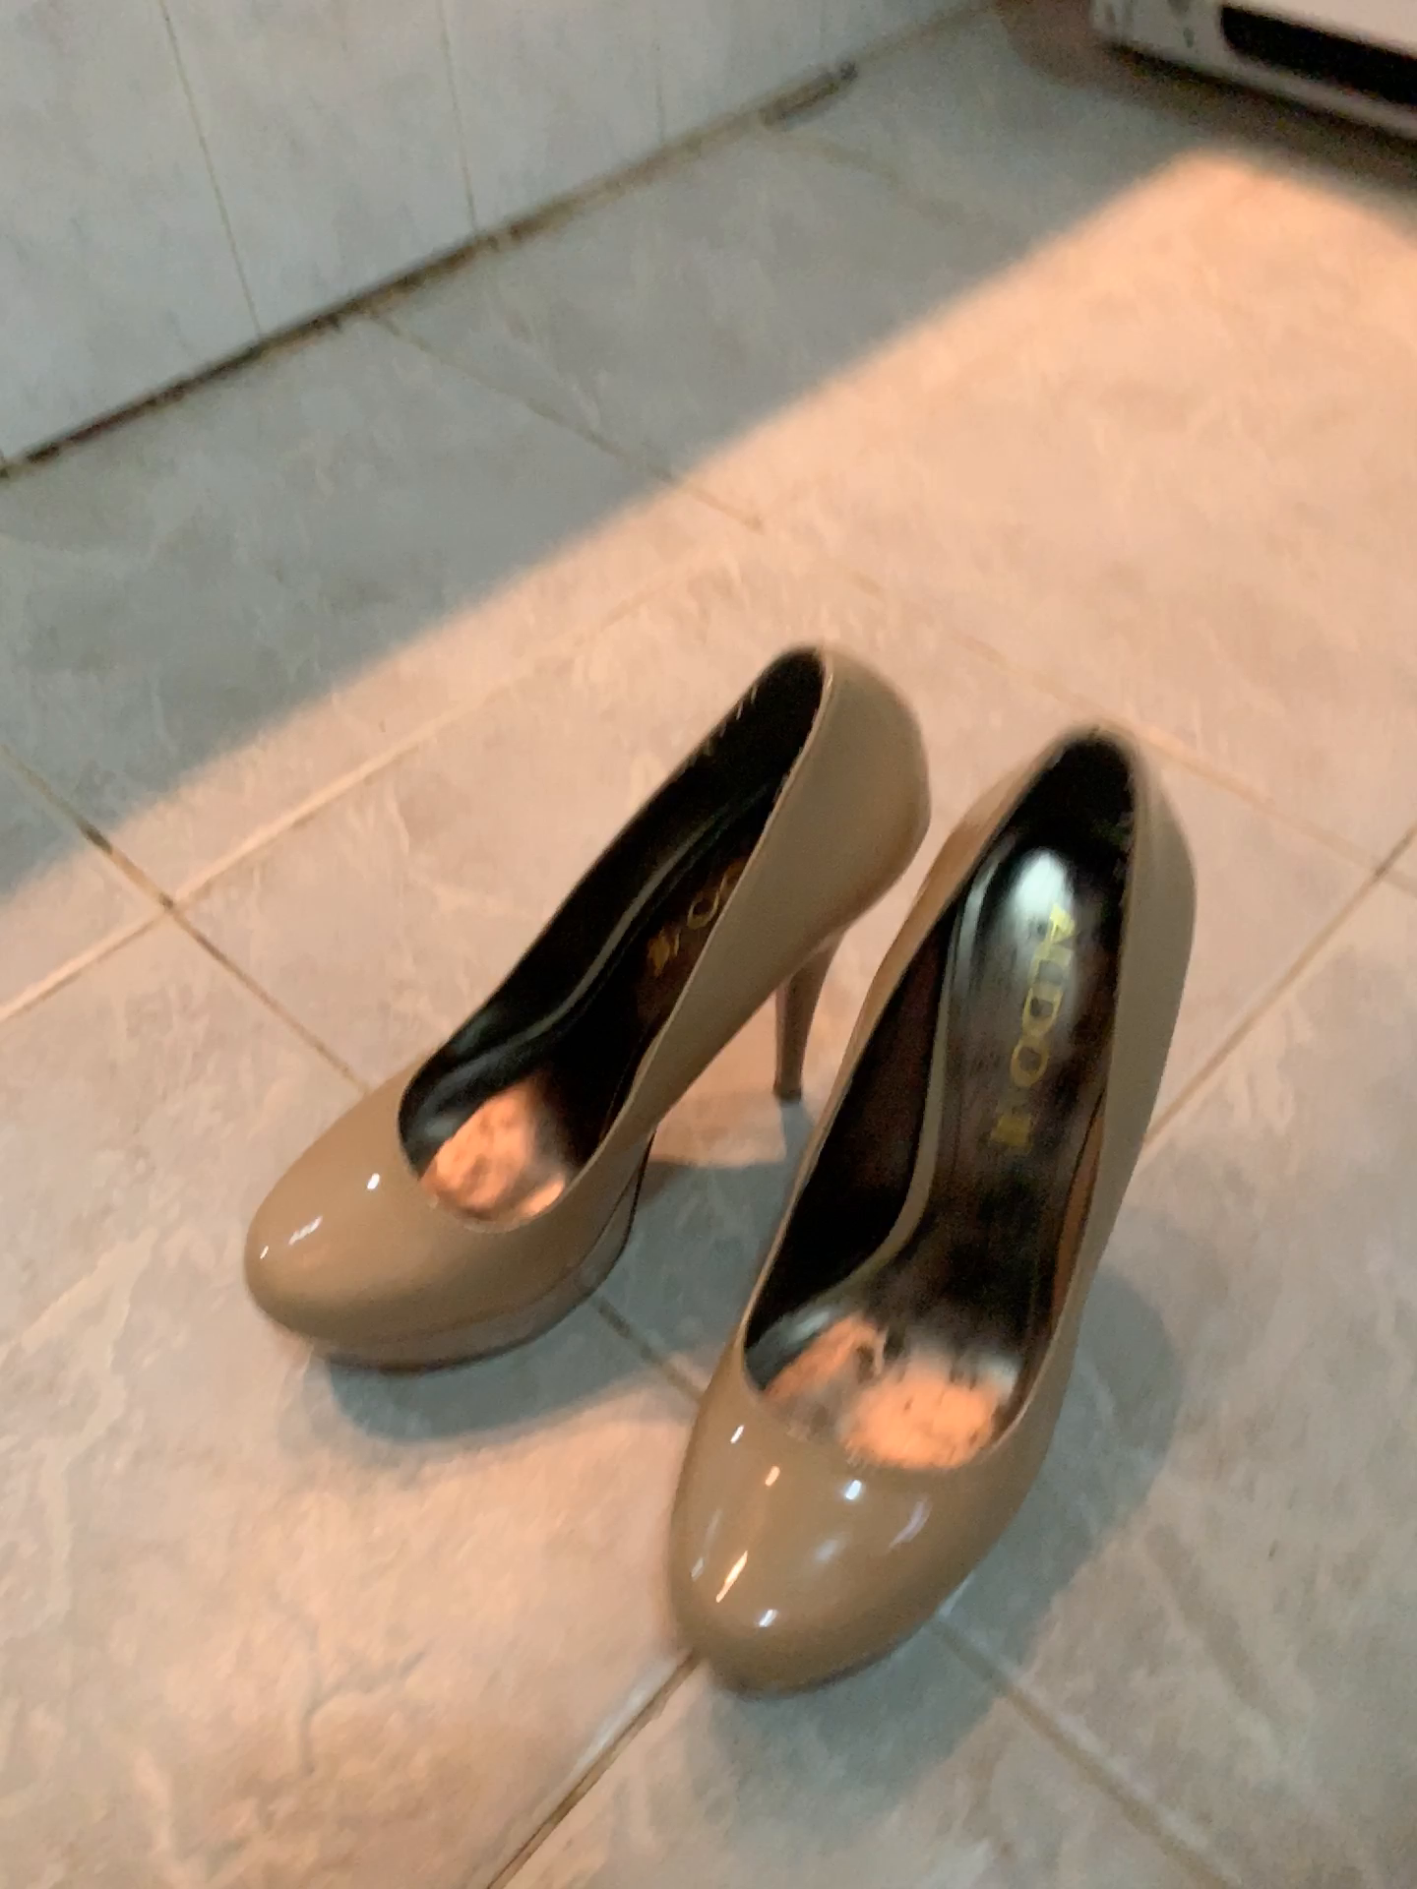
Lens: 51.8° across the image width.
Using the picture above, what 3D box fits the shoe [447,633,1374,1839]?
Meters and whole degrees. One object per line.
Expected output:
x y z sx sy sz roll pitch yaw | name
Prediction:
0.053 0.066 0.341 0.087 0.166 0.211 26 56 21 | shoe

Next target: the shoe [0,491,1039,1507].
-0.034 0.017 0.379 0.210 0.176 0.087 -31 56 -21 | shoe
